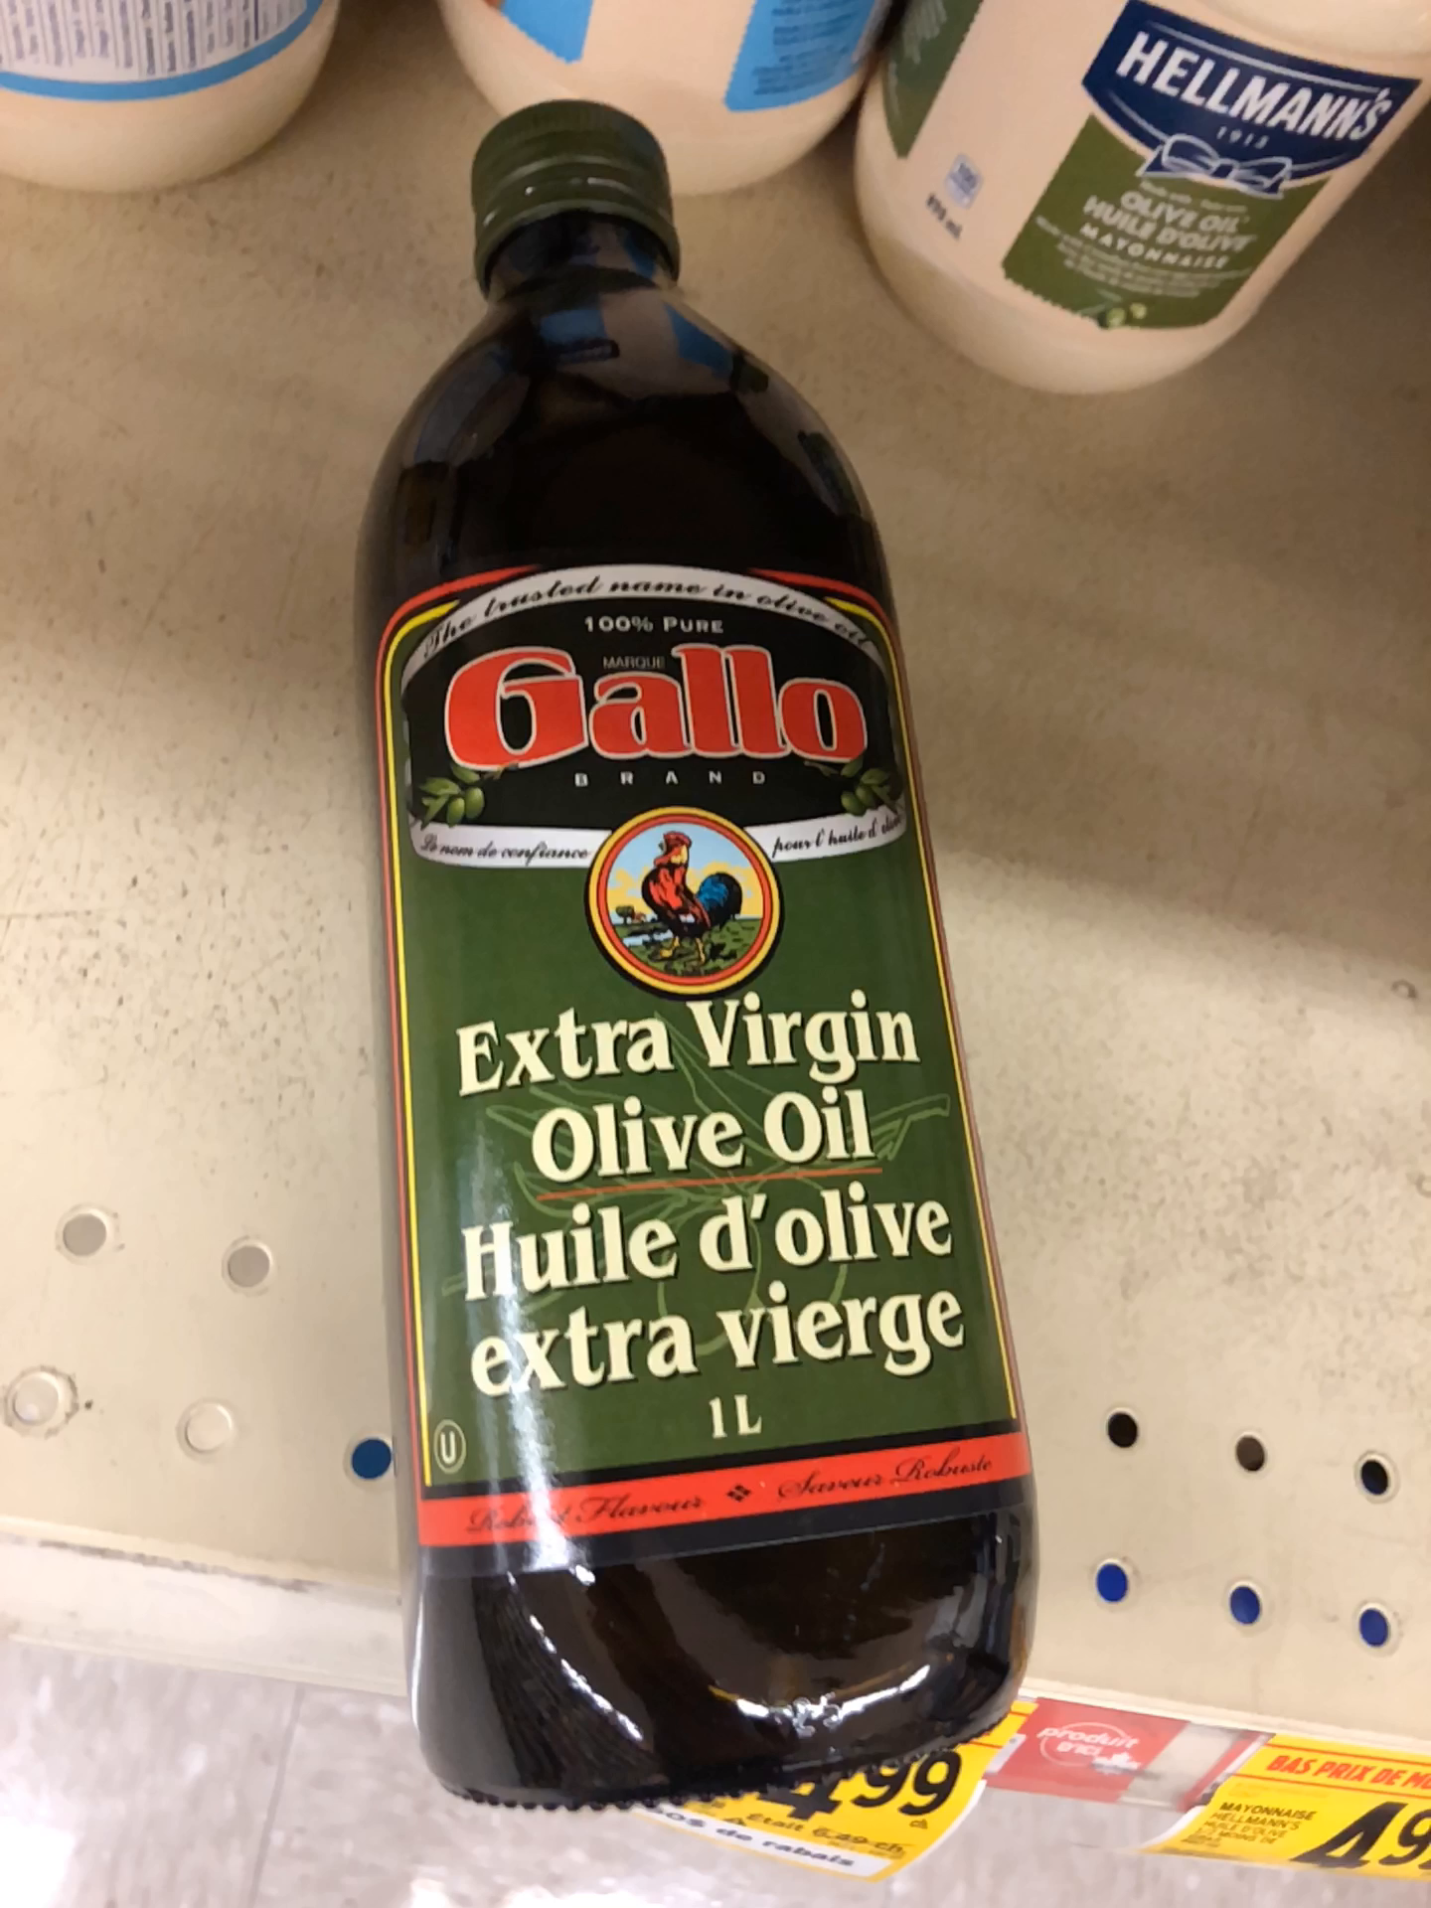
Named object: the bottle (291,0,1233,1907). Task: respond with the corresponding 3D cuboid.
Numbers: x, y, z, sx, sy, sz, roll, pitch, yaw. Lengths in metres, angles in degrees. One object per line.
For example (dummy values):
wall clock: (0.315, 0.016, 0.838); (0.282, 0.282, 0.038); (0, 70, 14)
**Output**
bottle: (-0.013, -0.025, 0.243); (0.090, 0.090, 0.271); (-2, 72, -16)
